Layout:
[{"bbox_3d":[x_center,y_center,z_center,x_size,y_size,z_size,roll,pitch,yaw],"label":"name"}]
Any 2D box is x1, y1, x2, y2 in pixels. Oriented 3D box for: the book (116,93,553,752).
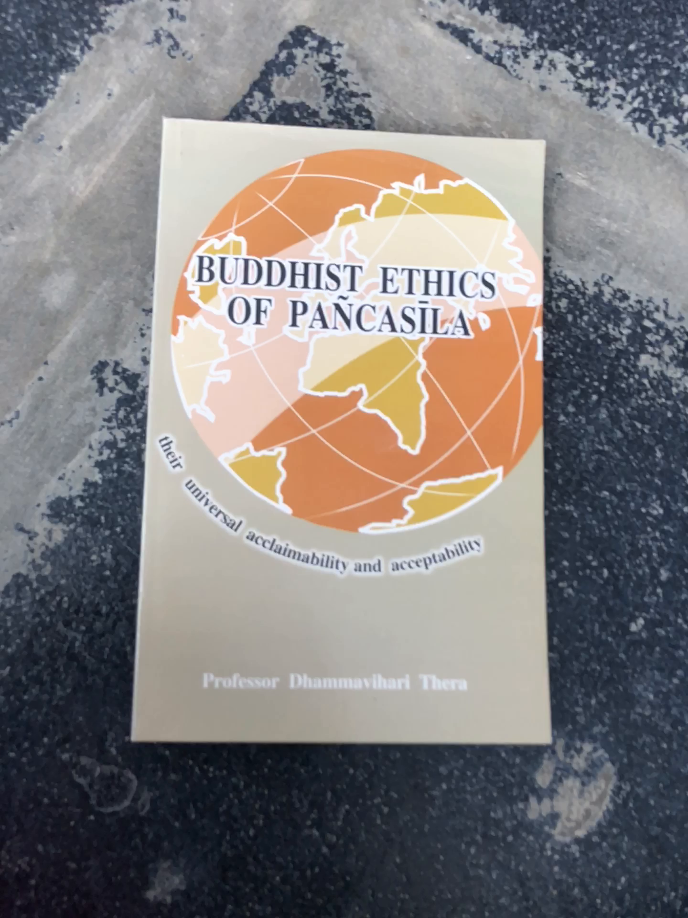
[{"bbox_3d":[-0.001,-0.016,0.262,0.140,0.010,0.220,1,82,-6],"label":"book"}]
